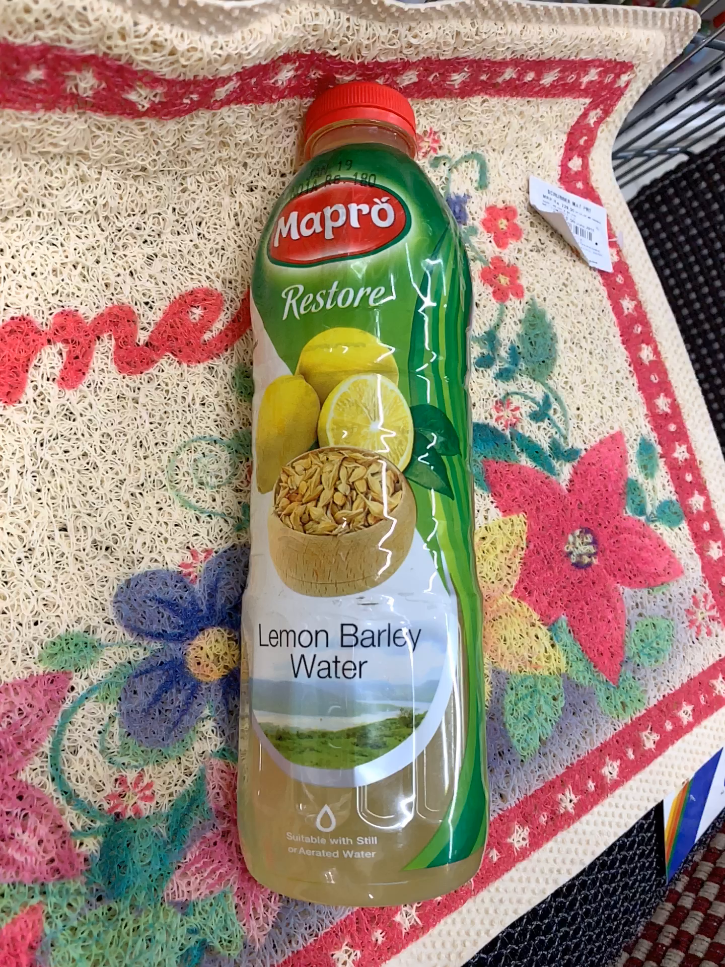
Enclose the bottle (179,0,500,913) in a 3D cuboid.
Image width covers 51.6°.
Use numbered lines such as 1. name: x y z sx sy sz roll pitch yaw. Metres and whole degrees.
1. bottle: -0.007 -0.018 0.256 0.080 0.090 0.270 -2 79 2
